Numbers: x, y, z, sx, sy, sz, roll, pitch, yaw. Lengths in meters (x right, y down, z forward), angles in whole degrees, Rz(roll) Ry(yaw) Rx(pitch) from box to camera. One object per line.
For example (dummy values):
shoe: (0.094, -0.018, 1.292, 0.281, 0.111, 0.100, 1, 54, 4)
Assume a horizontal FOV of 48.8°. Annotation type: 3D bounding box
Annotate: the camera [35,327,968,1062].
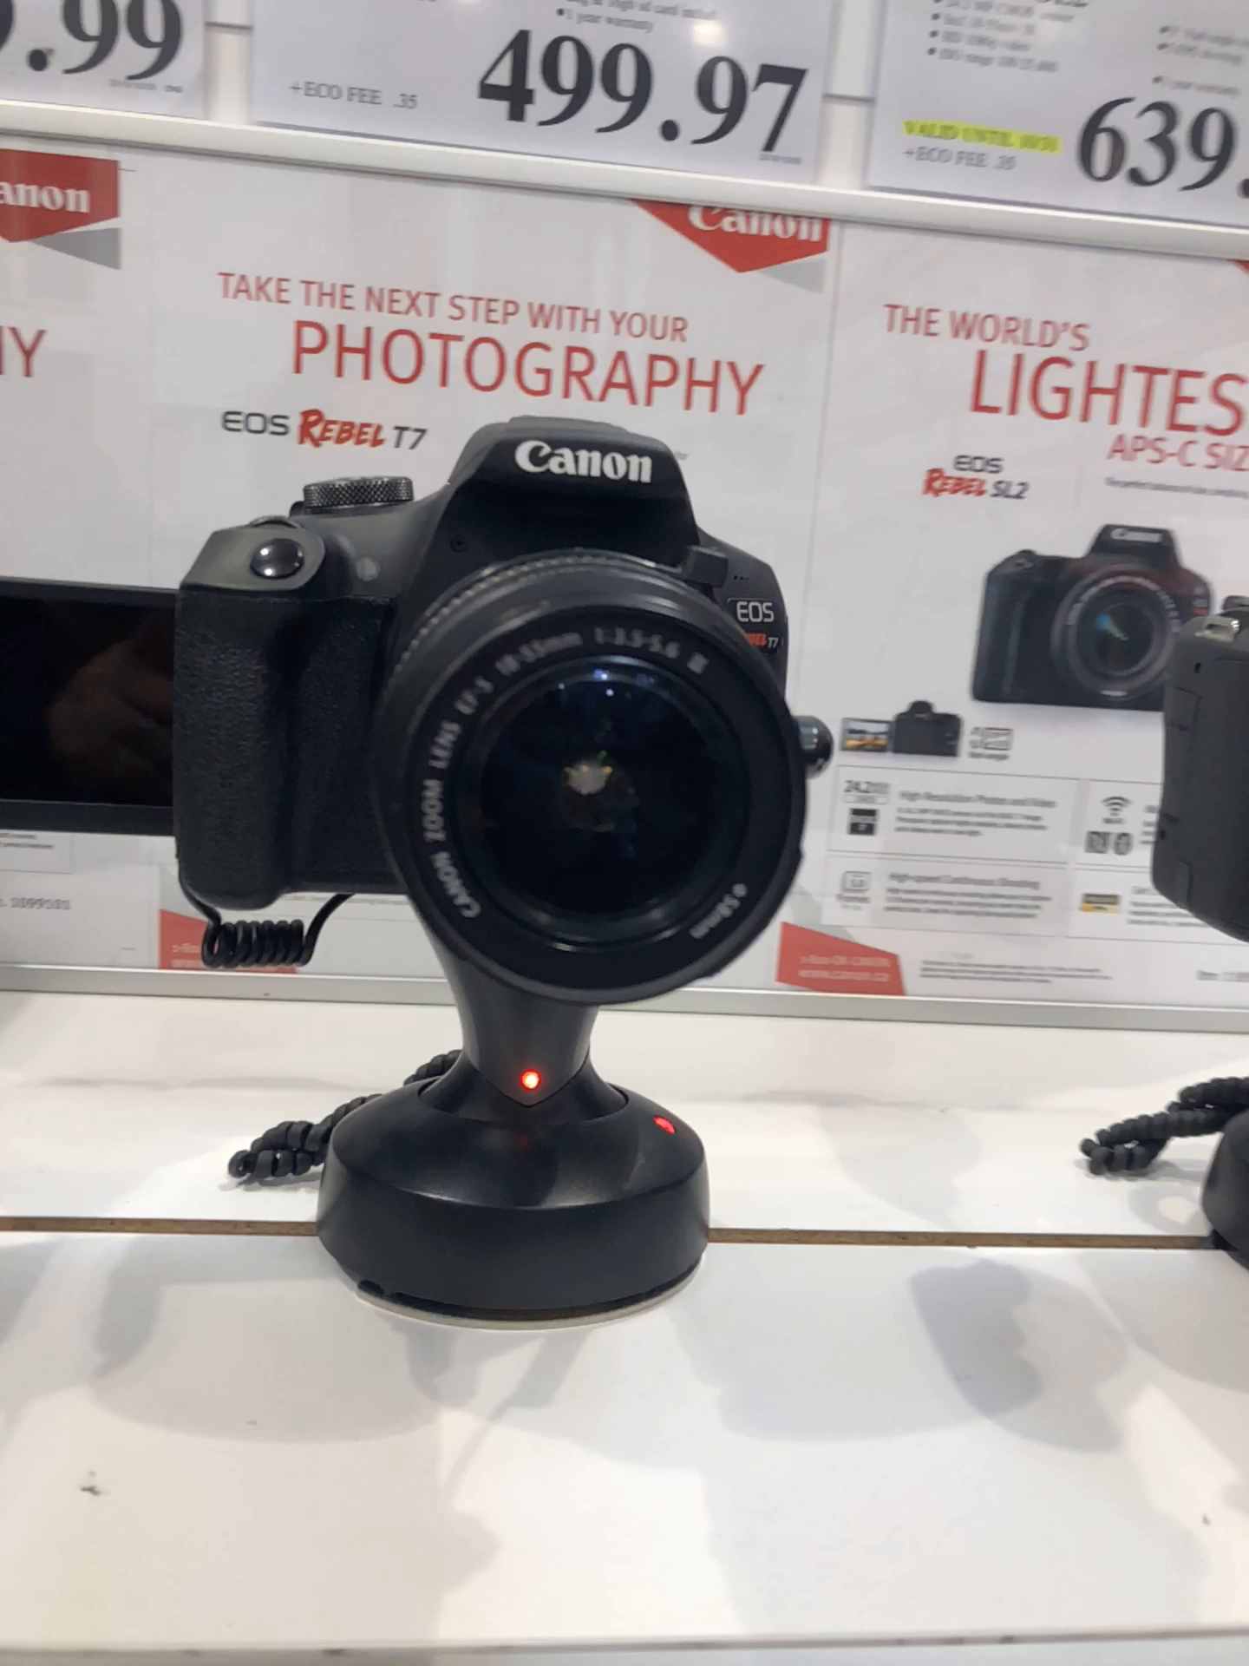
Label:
camera: (-0.024, -0.032, 0.271, 0.130, 0.100, 0.141, 3, 13, -5)
